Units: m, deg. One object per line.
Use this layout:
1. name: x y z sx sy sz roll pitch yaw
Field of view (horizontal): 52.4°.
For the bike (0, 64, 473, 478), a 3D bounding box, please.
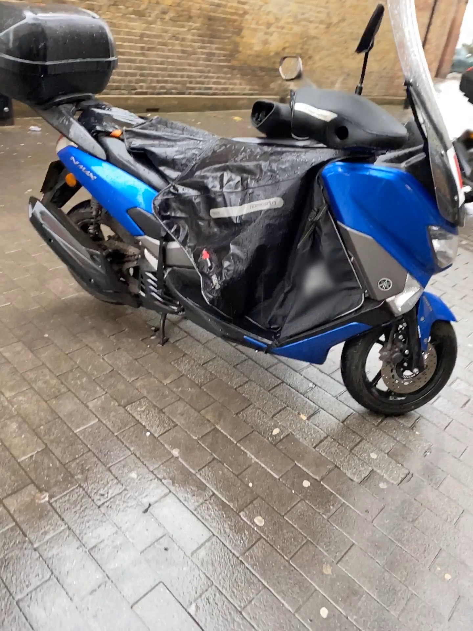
1. bike: 0.026 -0.266 1.840 1.731 0.998 0.682 16 31 13
